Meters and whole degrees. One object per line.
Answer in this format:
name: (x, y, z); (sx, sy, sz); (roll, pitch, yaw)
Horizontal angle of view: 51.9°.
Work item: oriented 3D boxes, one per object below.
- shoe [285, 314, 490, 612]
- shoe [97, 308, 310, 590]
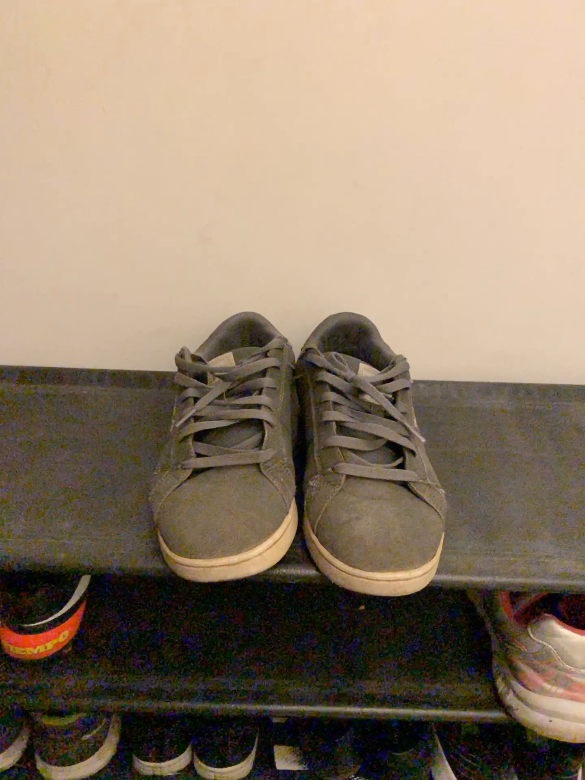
shoe: (0.062, 0.033, 0.505); (0.120, 0.079, 0.303); (0, 30, 2)
shoe: (-0.048, 0.024, 0.485); (0.120, 0.079, 0.273); (0, 30, 2)
